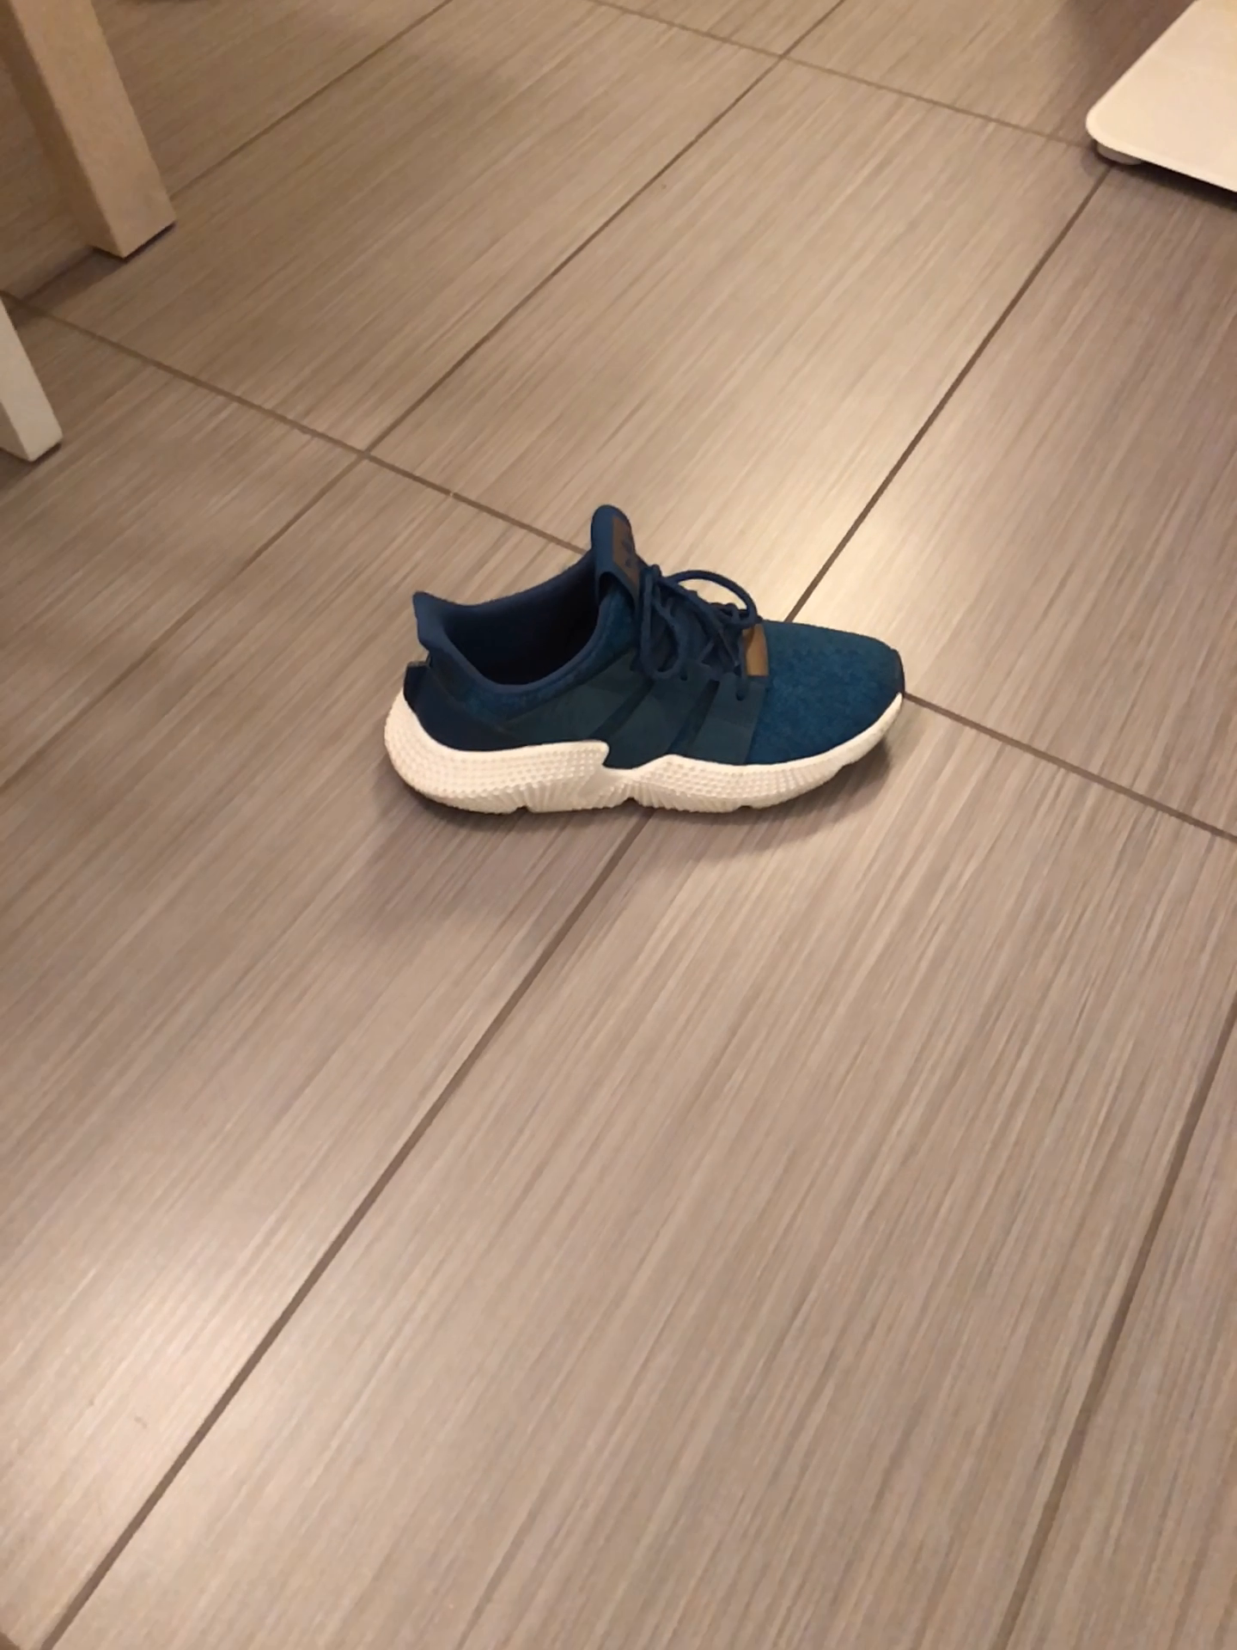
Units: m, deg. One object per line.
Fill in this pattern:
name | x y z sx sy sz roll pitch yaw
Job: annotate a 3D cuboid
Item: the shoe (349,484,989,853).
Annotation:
shoe | 0.019 -0.079 0.691 0.290 0.119 0.112 -5 55 -4
